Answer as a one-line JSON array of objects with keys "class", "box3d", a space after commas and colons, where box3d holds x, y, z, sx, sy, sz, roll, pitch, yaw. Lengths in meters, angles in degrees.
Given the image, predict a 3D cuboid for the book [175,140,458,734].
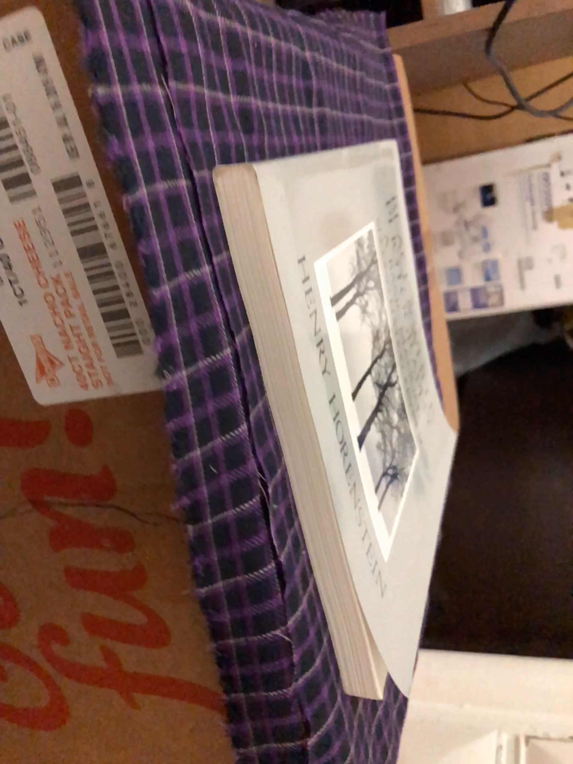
[{"class": "book", "box3d": [0.045, -0.007, 0.329, 0.251, 0.030, 0.210, -48, 128, -61]}]
